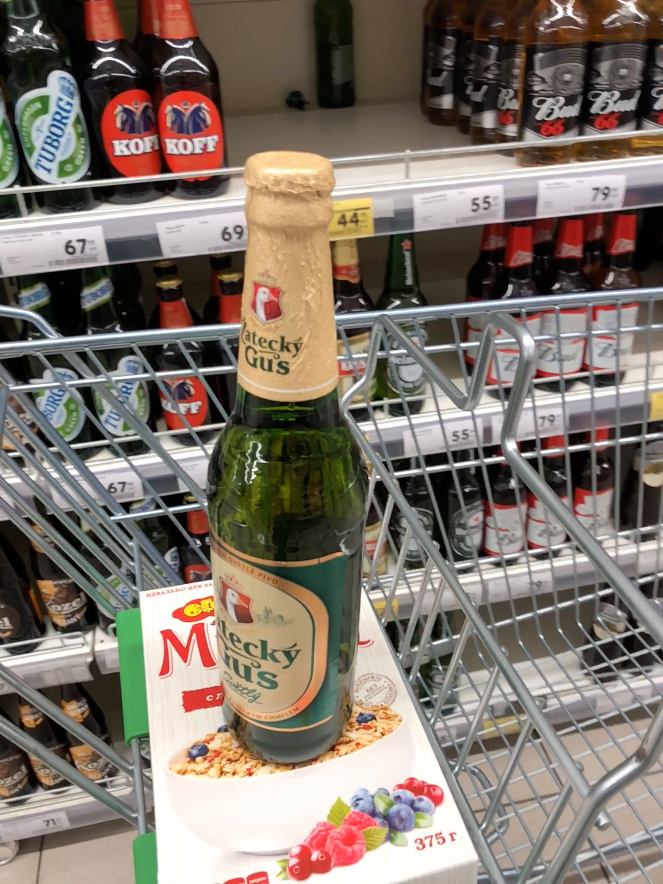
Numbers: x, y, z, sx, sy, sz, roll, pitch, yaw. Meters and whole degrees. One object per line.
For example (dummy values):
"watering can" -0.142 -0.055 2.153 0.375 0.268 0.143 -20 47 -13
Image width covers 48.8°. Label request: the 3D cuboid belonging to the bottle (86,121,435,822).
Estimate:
"bottle" -0.018 0.025 0.293 0.070 0.268 0.080 -30 42 -35
